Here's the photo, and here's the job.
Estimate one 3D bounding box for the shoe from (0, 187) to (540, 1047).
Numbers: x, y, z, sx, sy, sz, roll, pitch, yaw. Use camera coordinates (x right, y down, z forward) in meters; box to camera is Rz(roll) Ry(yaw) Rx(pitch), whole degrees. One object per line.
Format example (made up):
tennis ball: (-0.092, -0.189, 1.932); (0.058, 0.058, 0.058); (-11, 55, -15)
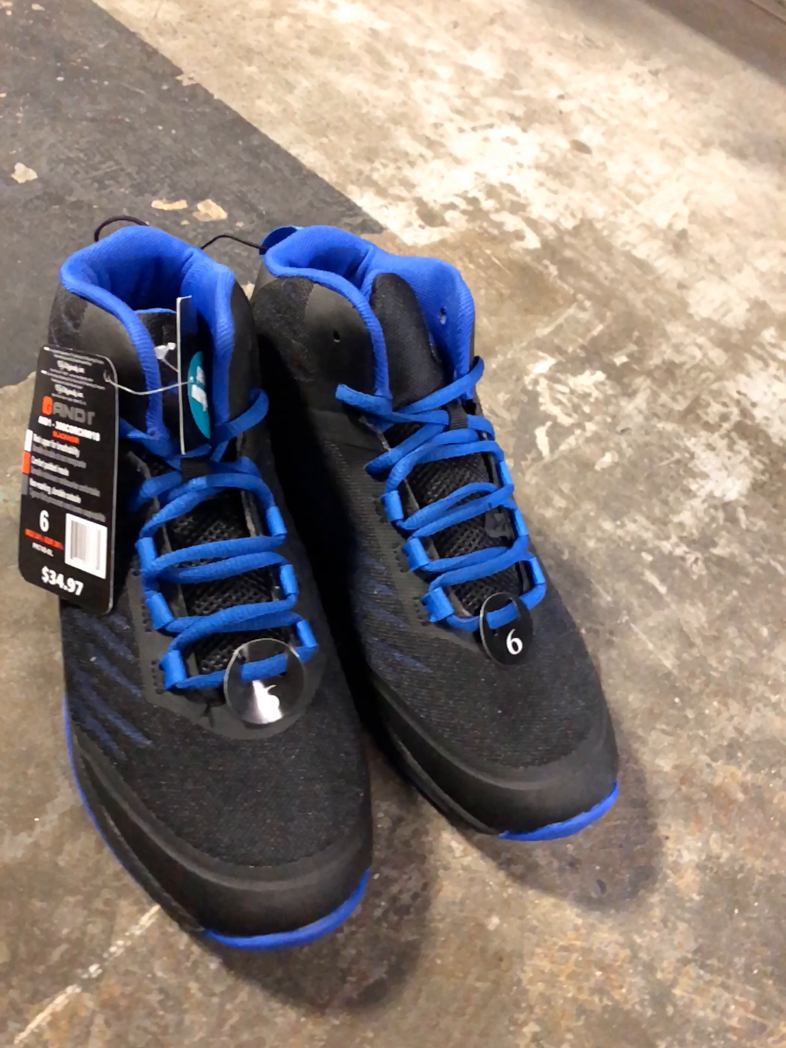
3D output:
shoe: (-0.061, 0.018, 0.271); (0.100, 0.119, 0.221); (-11, 58, -18)

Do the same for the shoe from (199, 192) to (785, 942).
shoe: (0.021, 0.006, 0.325); (0.110, 0.119, 0.231); (-18, 61, -22)
